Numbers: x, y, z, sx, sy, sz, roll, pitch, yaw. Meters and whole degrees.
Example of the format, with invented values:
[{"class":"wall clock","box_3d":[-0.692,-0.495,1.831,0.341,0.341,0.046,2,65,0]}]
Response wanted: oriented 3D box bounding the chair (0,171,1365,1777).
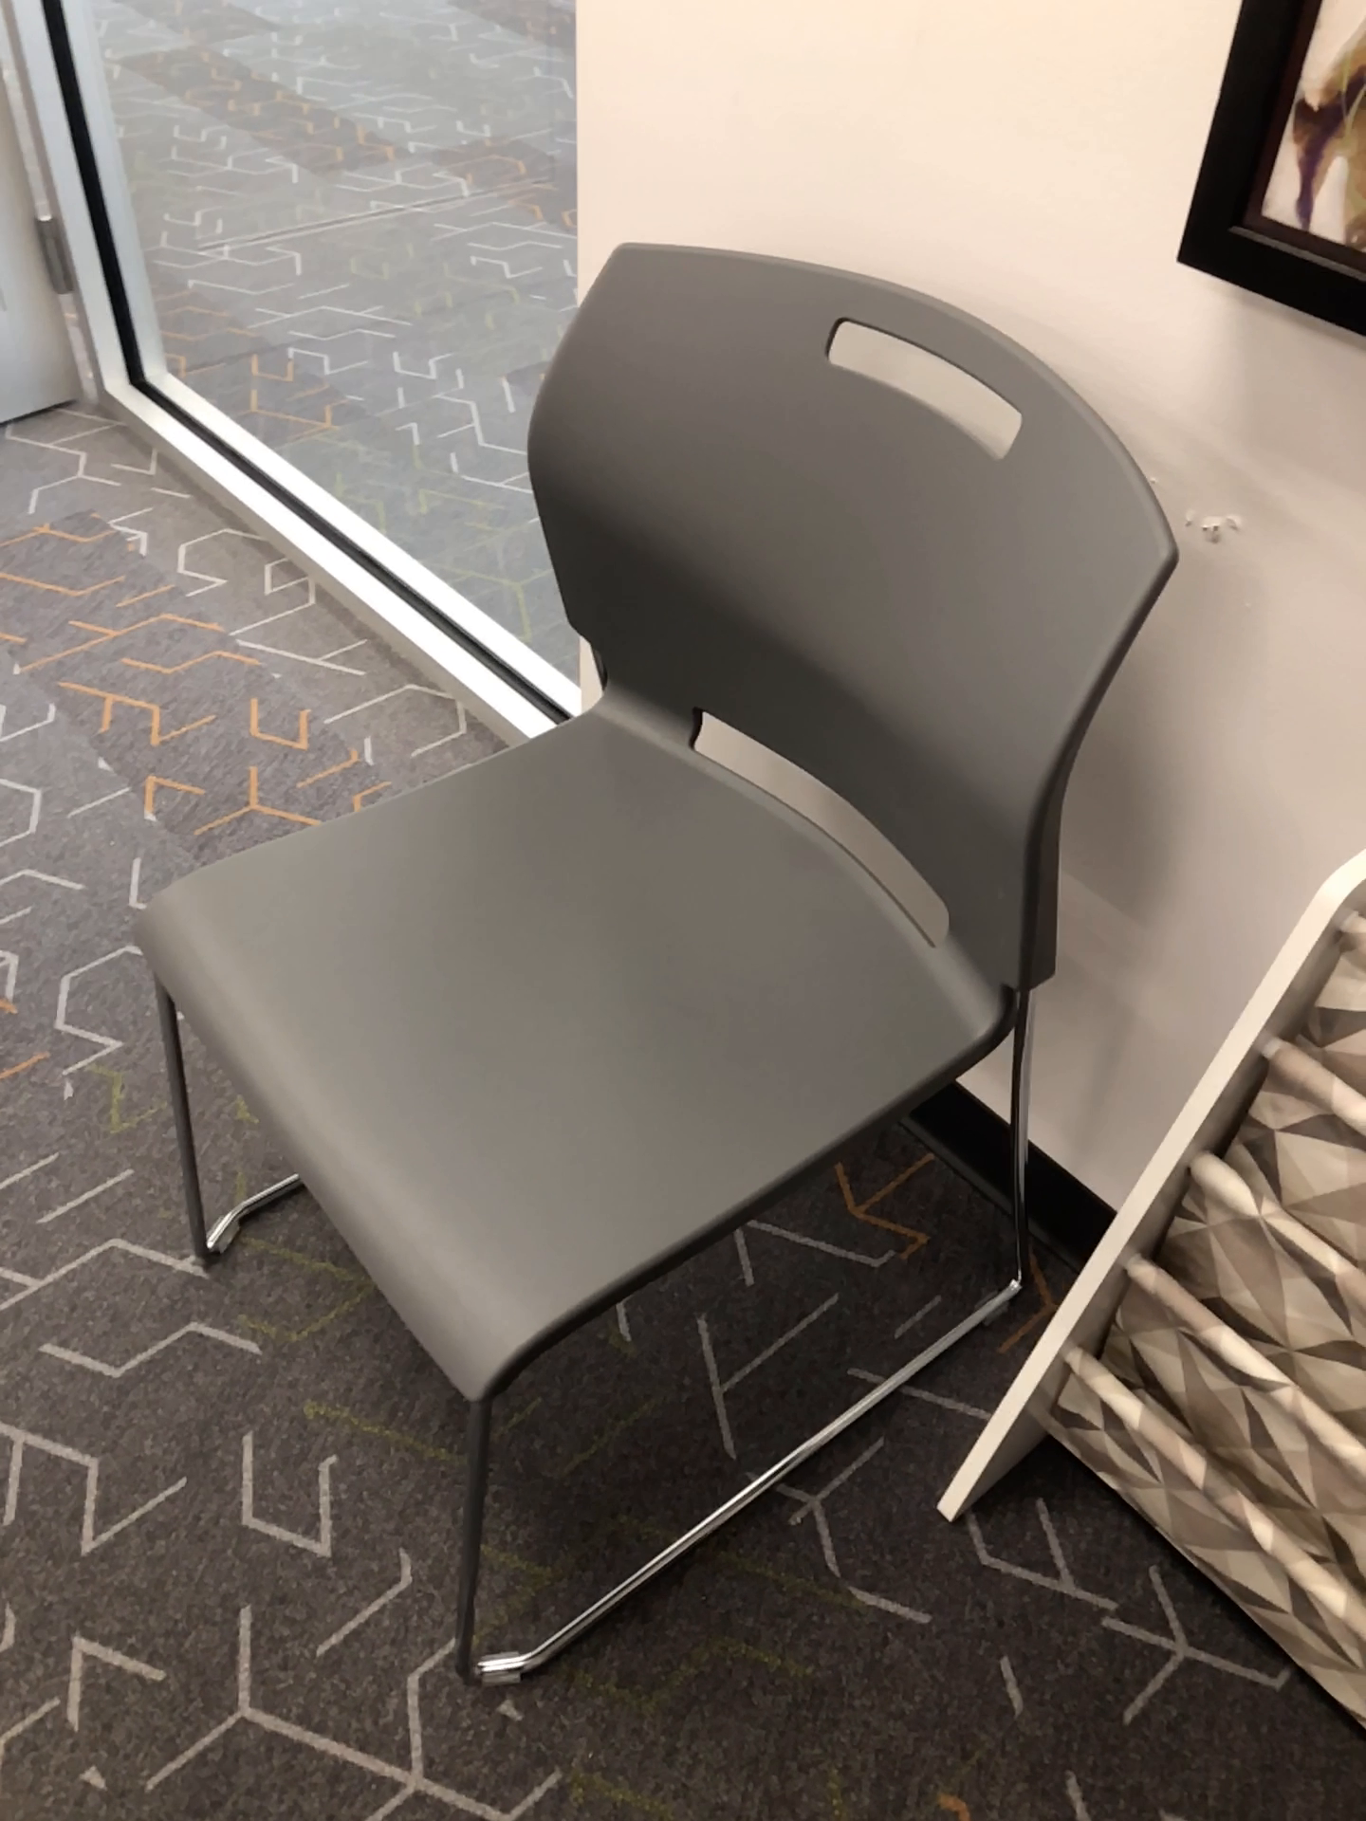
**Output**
[{"class":"chair","box_3d":[-0.051,0.015,1.057,0.671,0.735,0.583,-29,53,-28]}]
